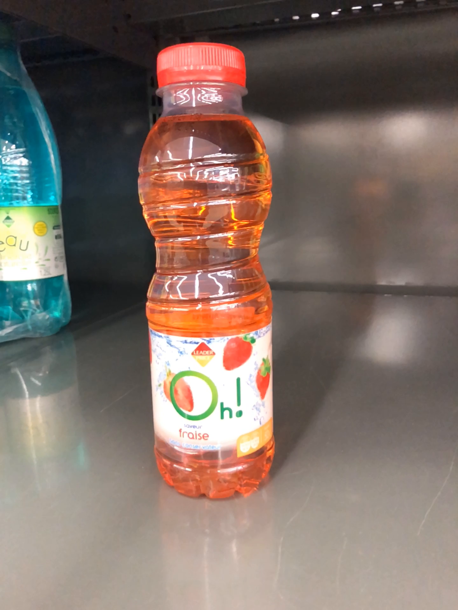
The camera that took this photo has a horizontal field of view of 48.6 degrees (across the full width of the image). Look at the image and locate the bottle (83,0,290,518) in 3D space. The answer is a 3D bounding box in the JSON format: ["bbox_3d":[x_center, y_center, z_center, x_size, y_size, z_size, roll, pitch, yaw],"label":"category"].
[{"bbox_3d":[-0.012,-0.018,0.237,0.070,0.209,0.060,2,12,17],"label":"bottle"}]
